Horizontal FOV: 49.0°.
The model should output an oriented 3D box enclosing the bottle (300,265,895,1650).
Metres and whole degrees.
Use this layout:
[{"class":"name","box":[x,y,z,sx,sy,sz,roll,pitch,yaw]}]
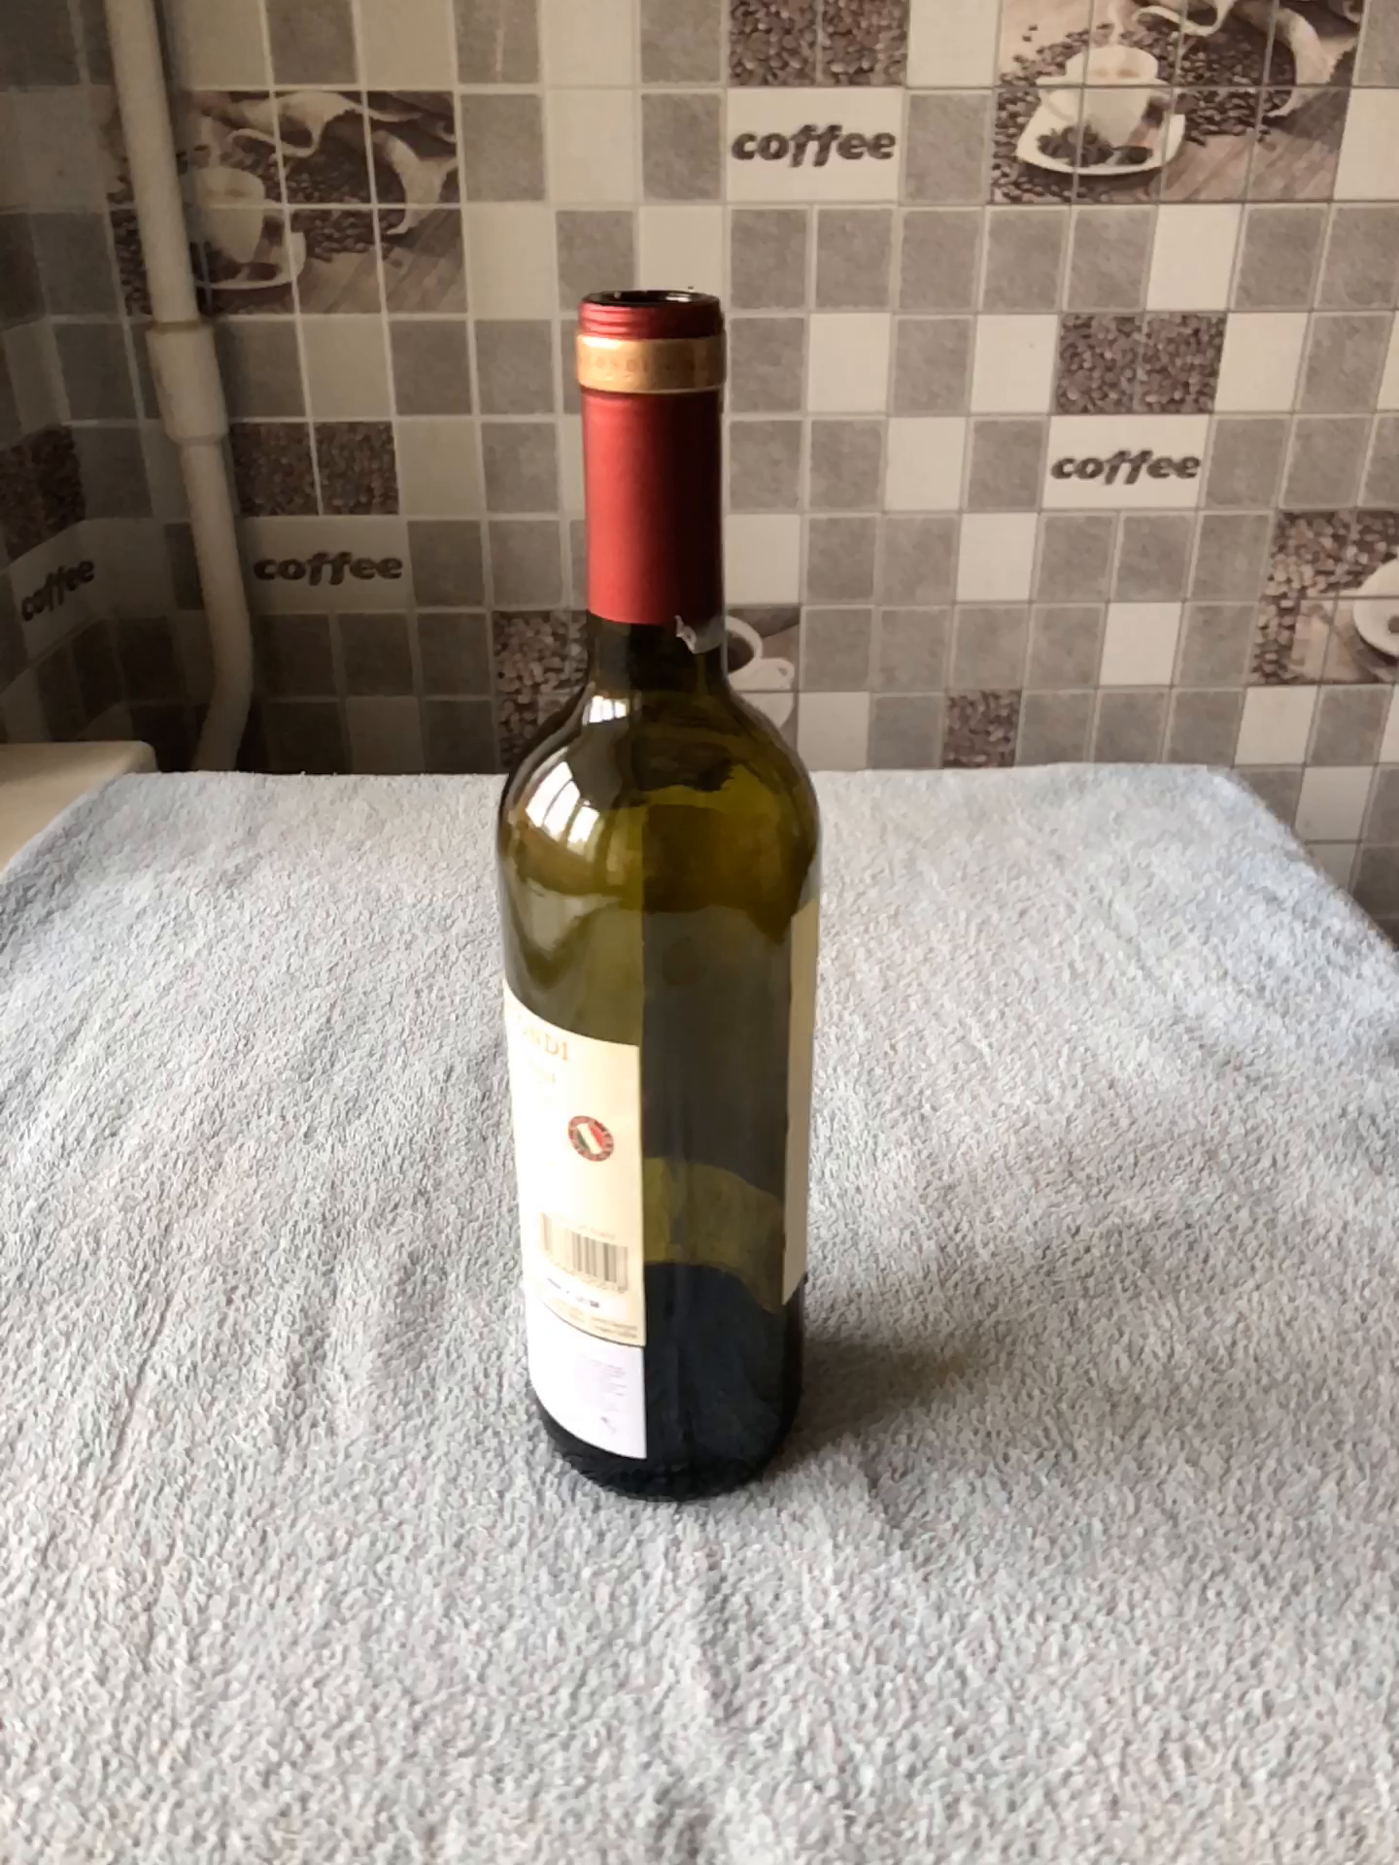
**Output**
[{"class":"bottle","box":[-0.020,0.016,0.350,0.080,0.299,0.080,0,28,0]}]
